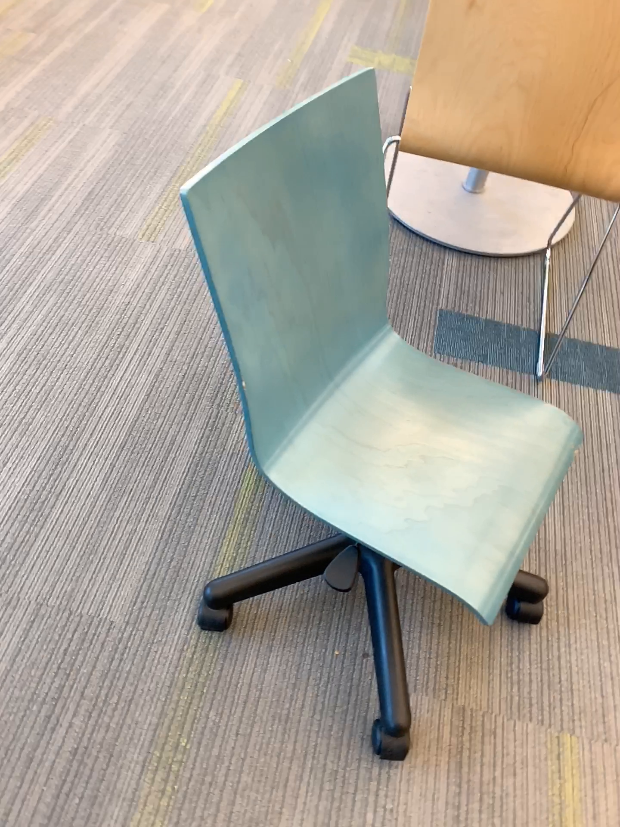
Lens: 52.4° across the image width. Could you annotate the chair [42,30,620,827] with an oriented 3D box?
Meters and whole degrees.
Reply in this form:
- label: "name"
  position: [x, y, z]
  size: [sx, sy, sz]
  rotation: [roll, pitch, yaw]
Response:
- label: "chair"
  position: [0.172, 0.037, 0.840]
  size: [0.610, 0.667, 0.602]
  rotation: [29, 54, 14]
